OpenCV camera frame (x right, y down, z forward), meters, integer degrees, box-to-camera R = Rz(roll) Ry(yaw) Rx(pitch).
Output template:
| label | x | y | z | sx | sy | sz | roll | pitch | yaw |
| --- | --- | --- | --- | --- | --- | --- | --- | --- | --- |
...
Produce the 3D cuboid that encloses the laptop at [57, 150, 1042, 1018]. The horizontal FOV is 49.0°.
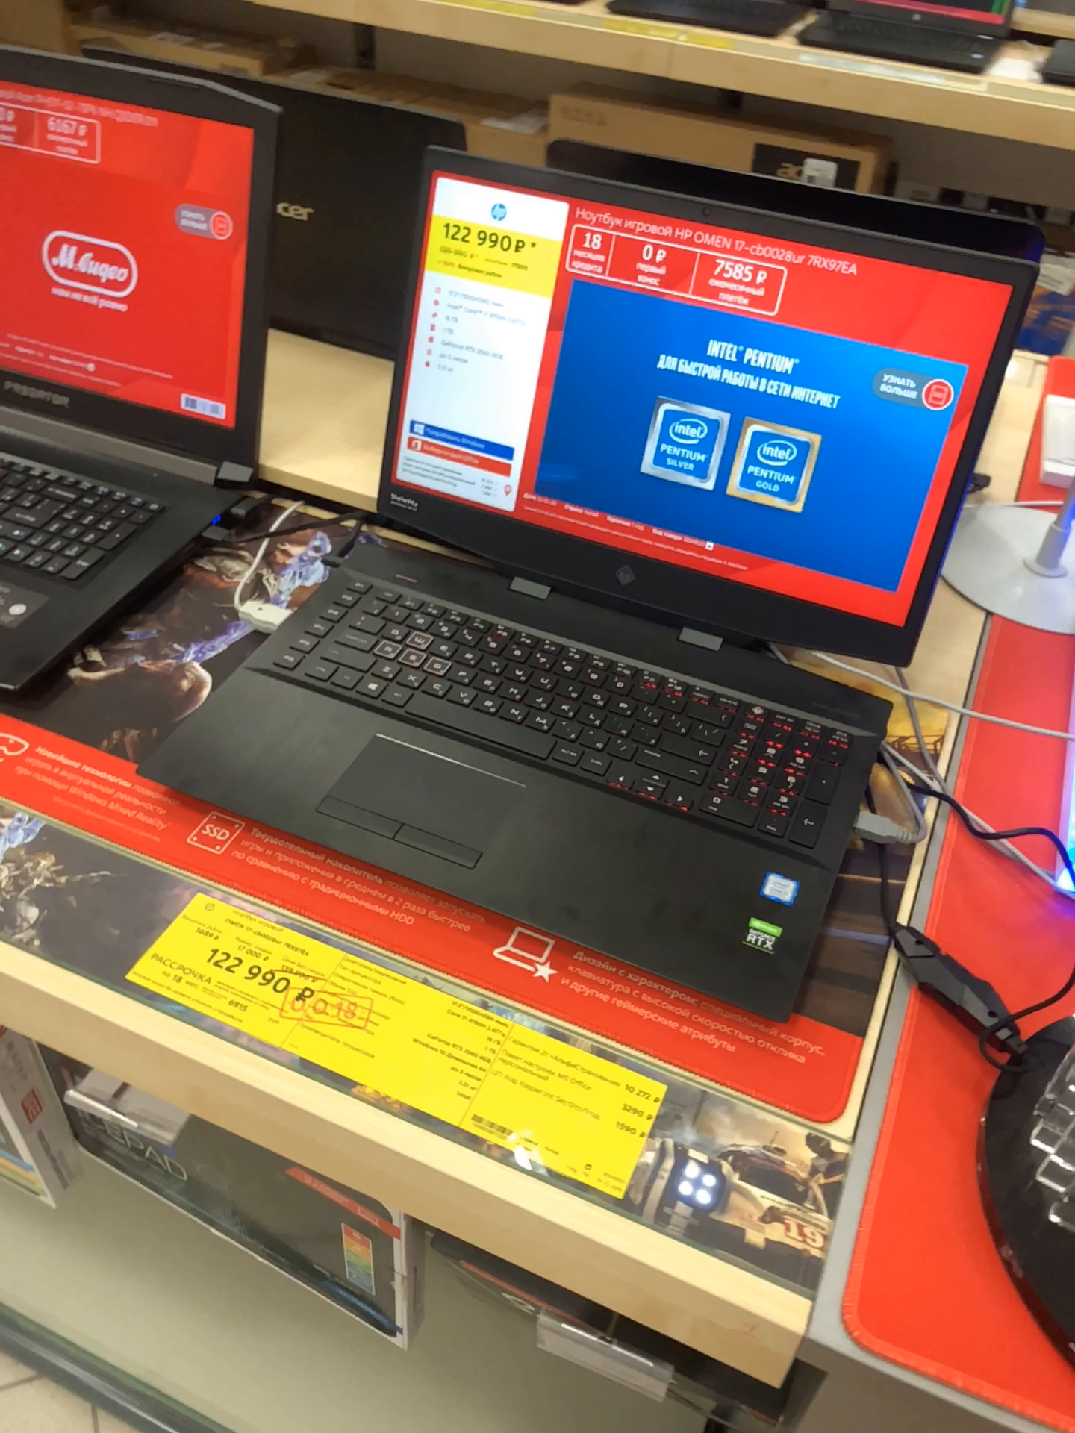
| label | x | y | z | sx | sy | sz | roll | pitch | yaw |
| --- | --- | --- | --- | --- | --- | --- | --- | --- | --- |
| laptop | 0.029 | -0.116 | 0.690 | 0.392 | 0.246 | 0.376 | 18 | 44 | 17 |
